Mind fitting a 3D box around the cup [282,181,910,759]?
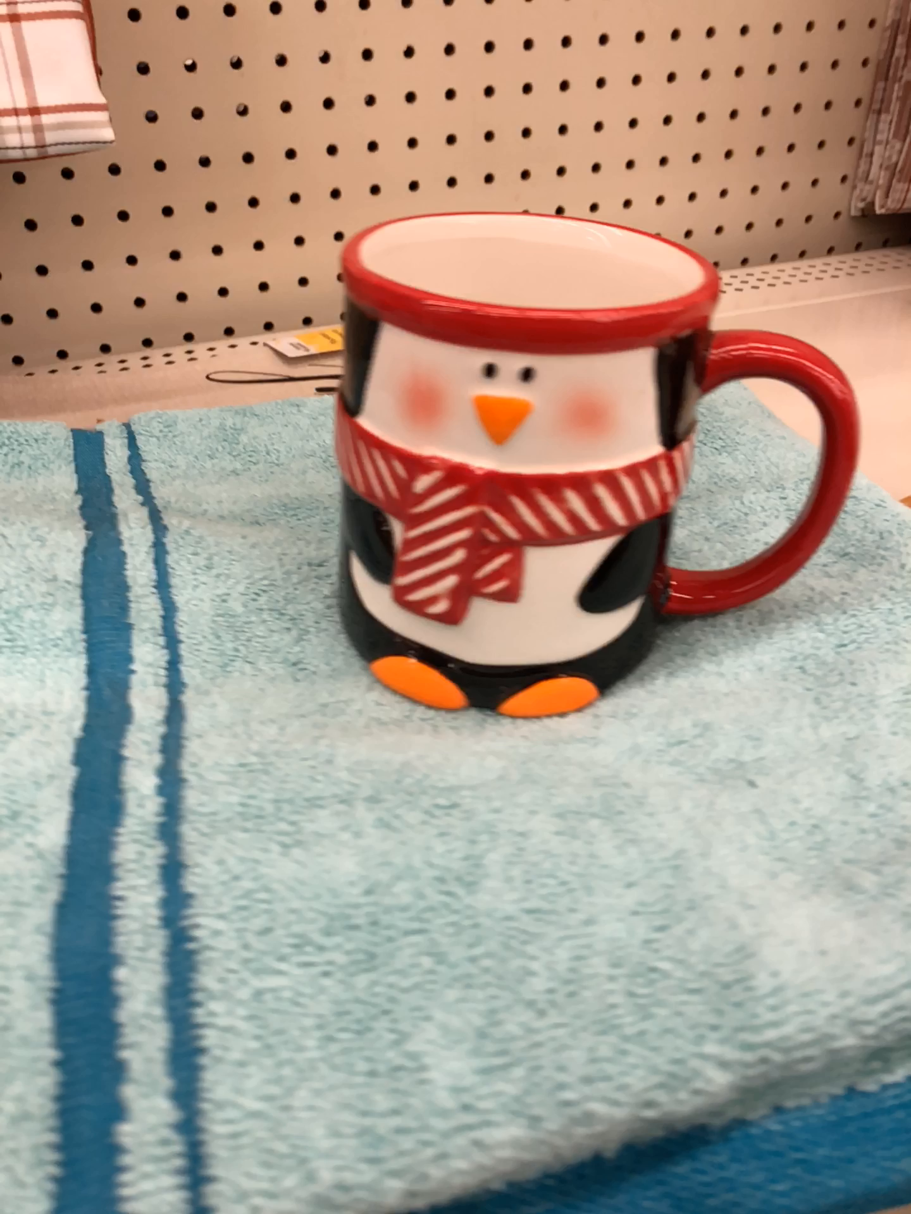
[{"bbox_3d":[0.033,-0.039,0.261,0.130,0.110,0.090,6,33,4],"label":"cup"}]
